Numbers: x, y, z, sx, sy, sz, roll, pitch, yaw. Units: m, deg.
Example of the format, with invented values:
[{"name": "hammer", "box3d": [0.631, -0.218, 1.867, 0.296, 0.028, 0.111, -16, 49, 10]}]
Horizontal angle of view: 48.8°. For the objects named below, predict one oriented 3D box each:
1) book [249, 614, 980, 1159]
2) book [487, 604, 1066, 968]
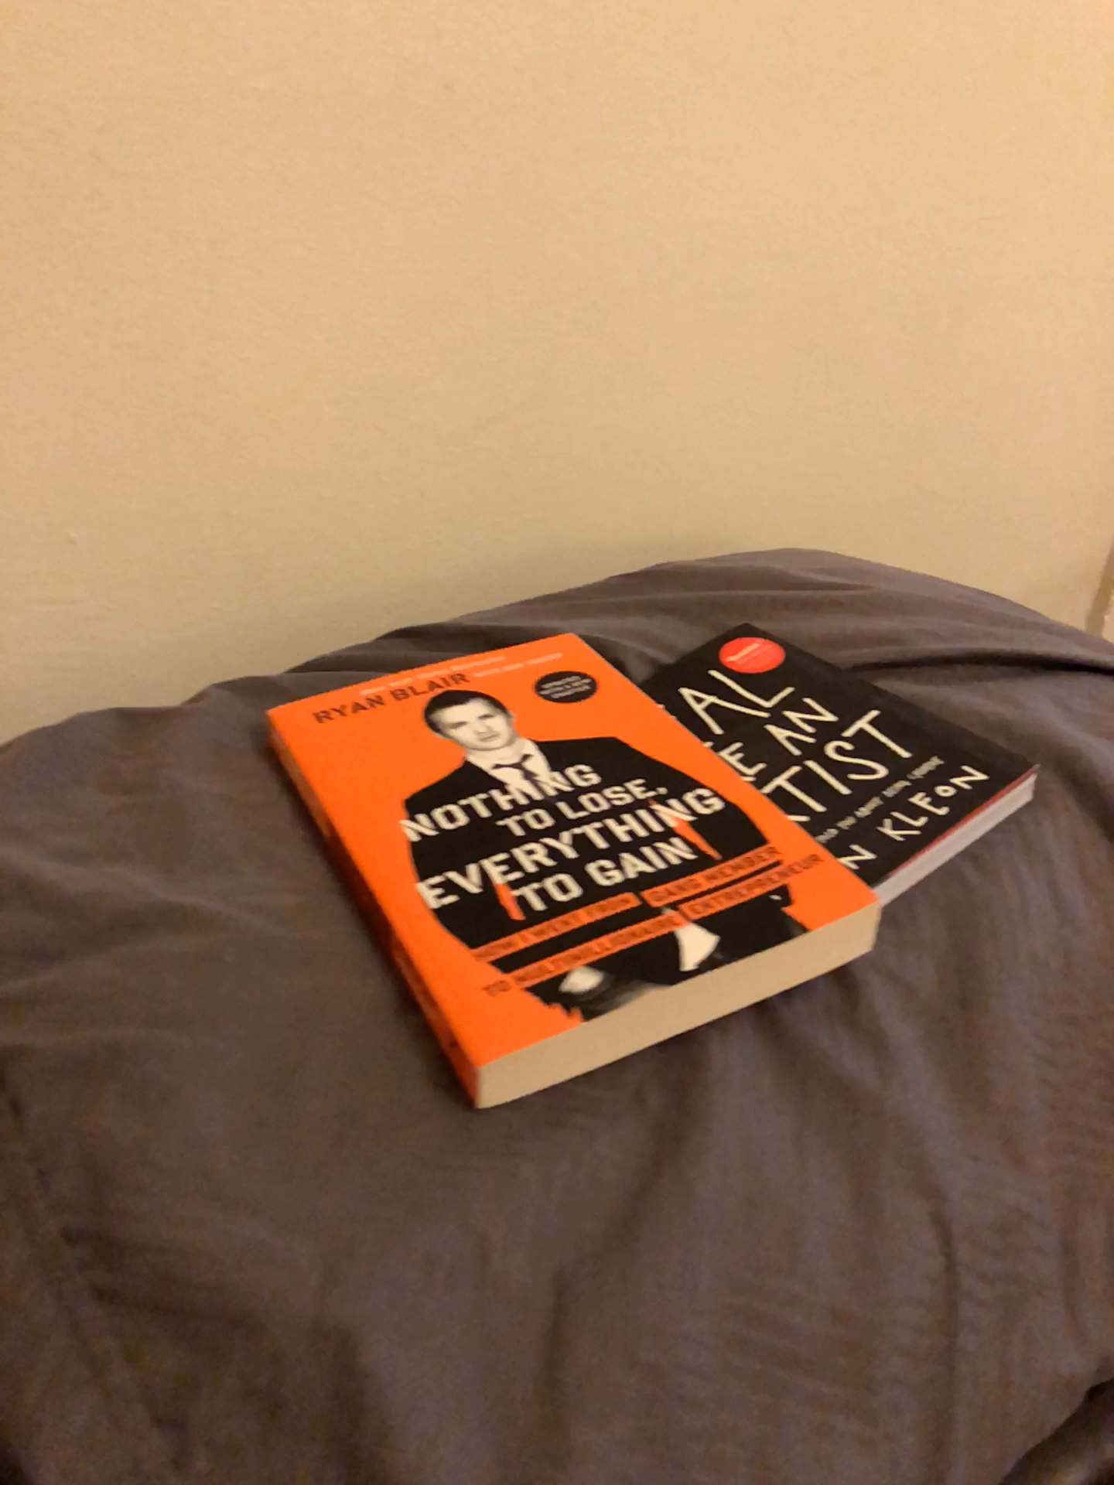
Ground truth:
[{"name": "book", "box3d": [0.006, 0.027, 0.448, 0.170, 0.020, 0.231, -15, 37, -24]}, {"name": "book", "box3d": [0.084, 0.004, 0.490, 0.150, 0.020, 0.170, -25, 40, -34]}]
